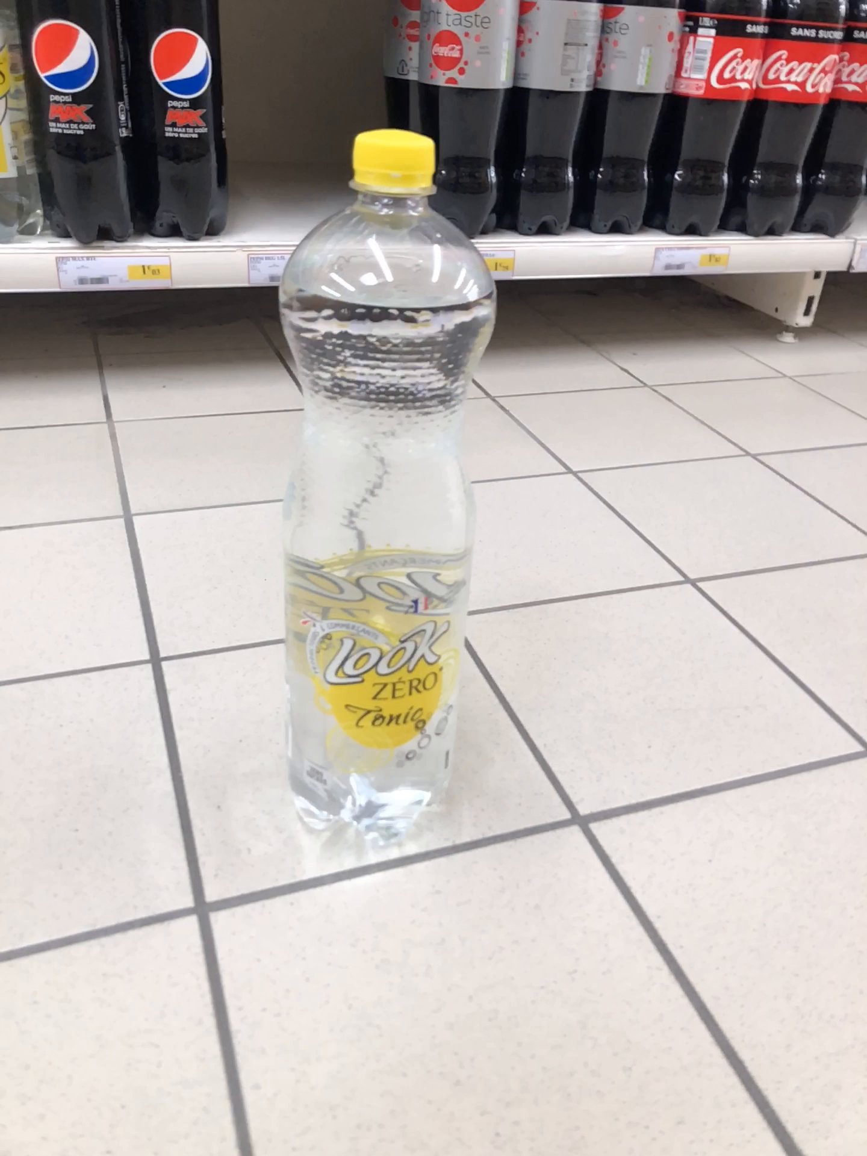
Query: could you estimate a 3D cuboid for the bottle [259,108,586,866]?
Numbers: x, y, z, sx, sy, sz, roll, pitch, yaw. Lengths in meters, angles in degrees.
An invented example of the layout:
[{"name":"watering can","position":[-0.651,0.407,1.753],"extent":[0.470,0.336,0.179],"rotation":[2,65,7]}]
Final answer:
[{"name":"bottle","position":[-0.020,-0.028,0.430],"extent":[0.100,0.318,0.100],"rotation":[3,30,-2]}]
